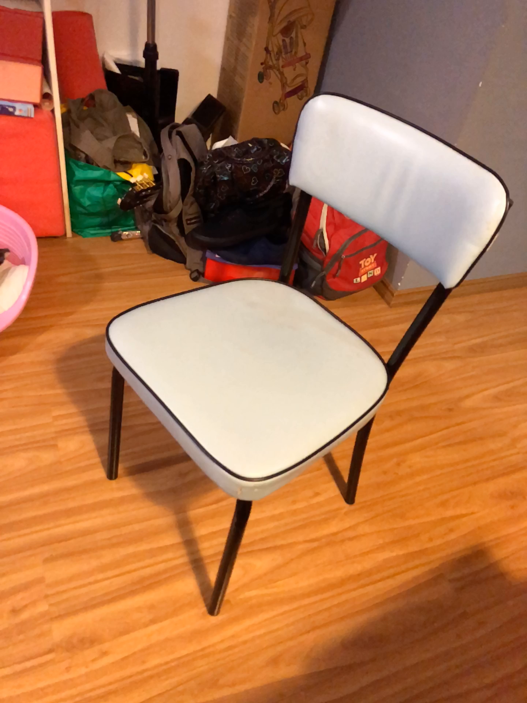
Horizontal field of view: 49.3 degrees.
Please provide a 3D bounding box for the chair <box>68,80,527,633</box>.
[{"bbox_3d":[0.012,0.019,1.062,0.502,0.794,0.452,-26,54,-34],"label":"chair"}]
